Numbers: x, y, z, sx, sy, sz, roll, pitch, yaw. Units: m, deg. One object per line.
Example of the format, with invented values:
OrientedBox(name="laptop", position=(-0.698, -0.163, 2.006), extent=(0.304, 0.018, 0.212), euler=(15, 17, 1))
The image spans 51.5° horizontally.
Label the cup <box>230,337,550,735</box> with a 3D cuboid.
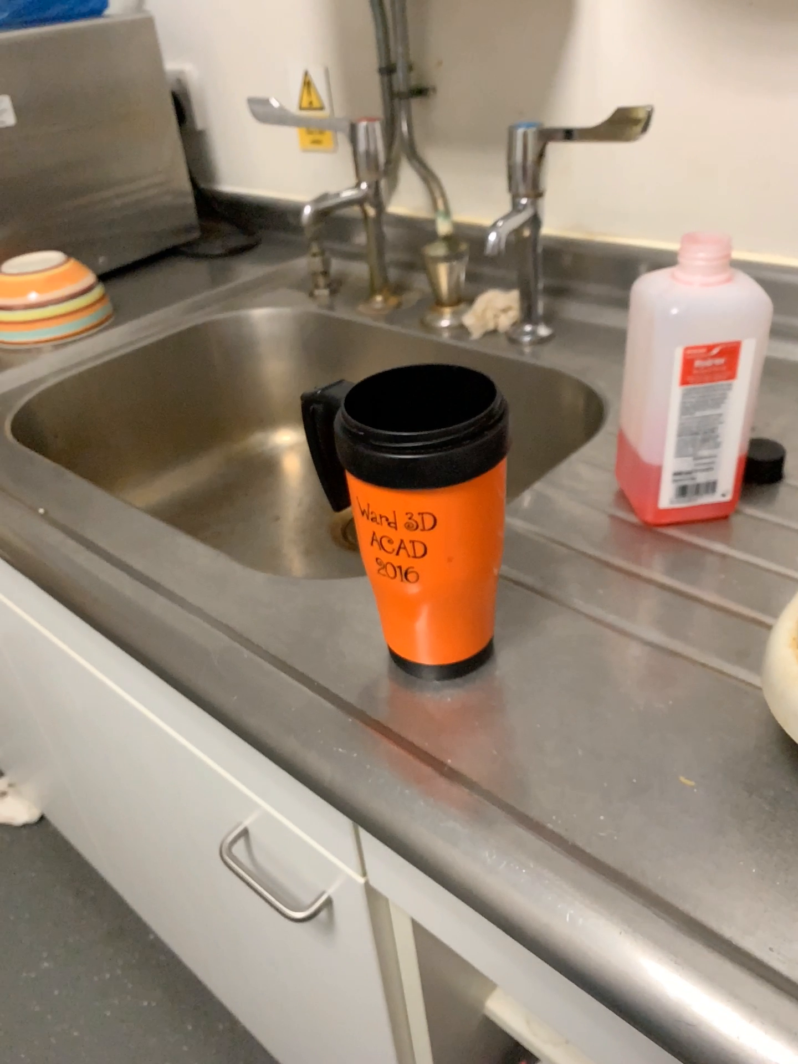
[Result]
OrientedBox(name="cup", position=(0.001, -0.003, 0.457), extent=(0.135, 0.164, 0.090), euler=(22, 43, 35))
